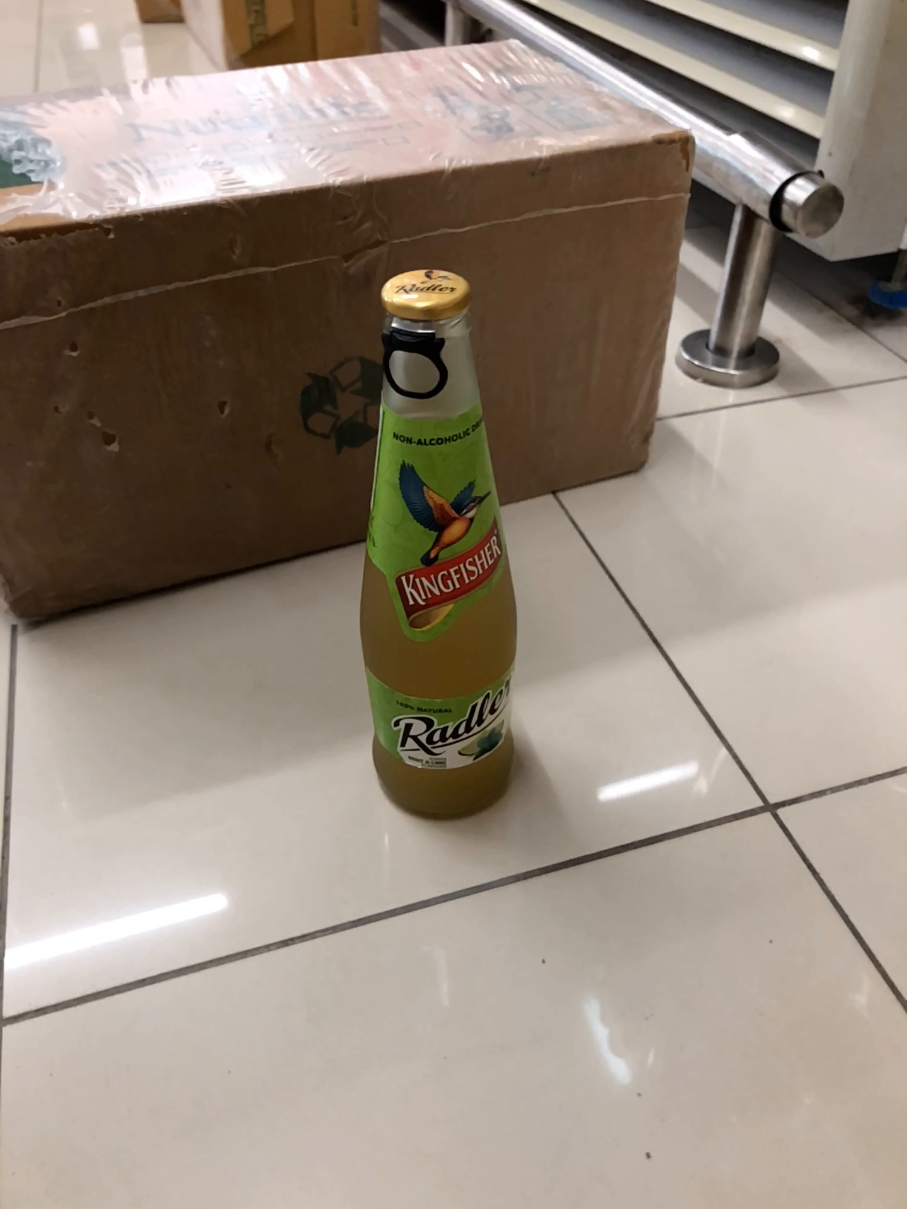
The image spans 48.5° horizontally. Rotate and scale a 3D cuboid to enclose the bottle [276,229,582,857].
[{"bbox_3d":[-0.007,-0.009,0.346,0.070,0.209,0.060,-13,42,-14],"label":"bottle"}]
